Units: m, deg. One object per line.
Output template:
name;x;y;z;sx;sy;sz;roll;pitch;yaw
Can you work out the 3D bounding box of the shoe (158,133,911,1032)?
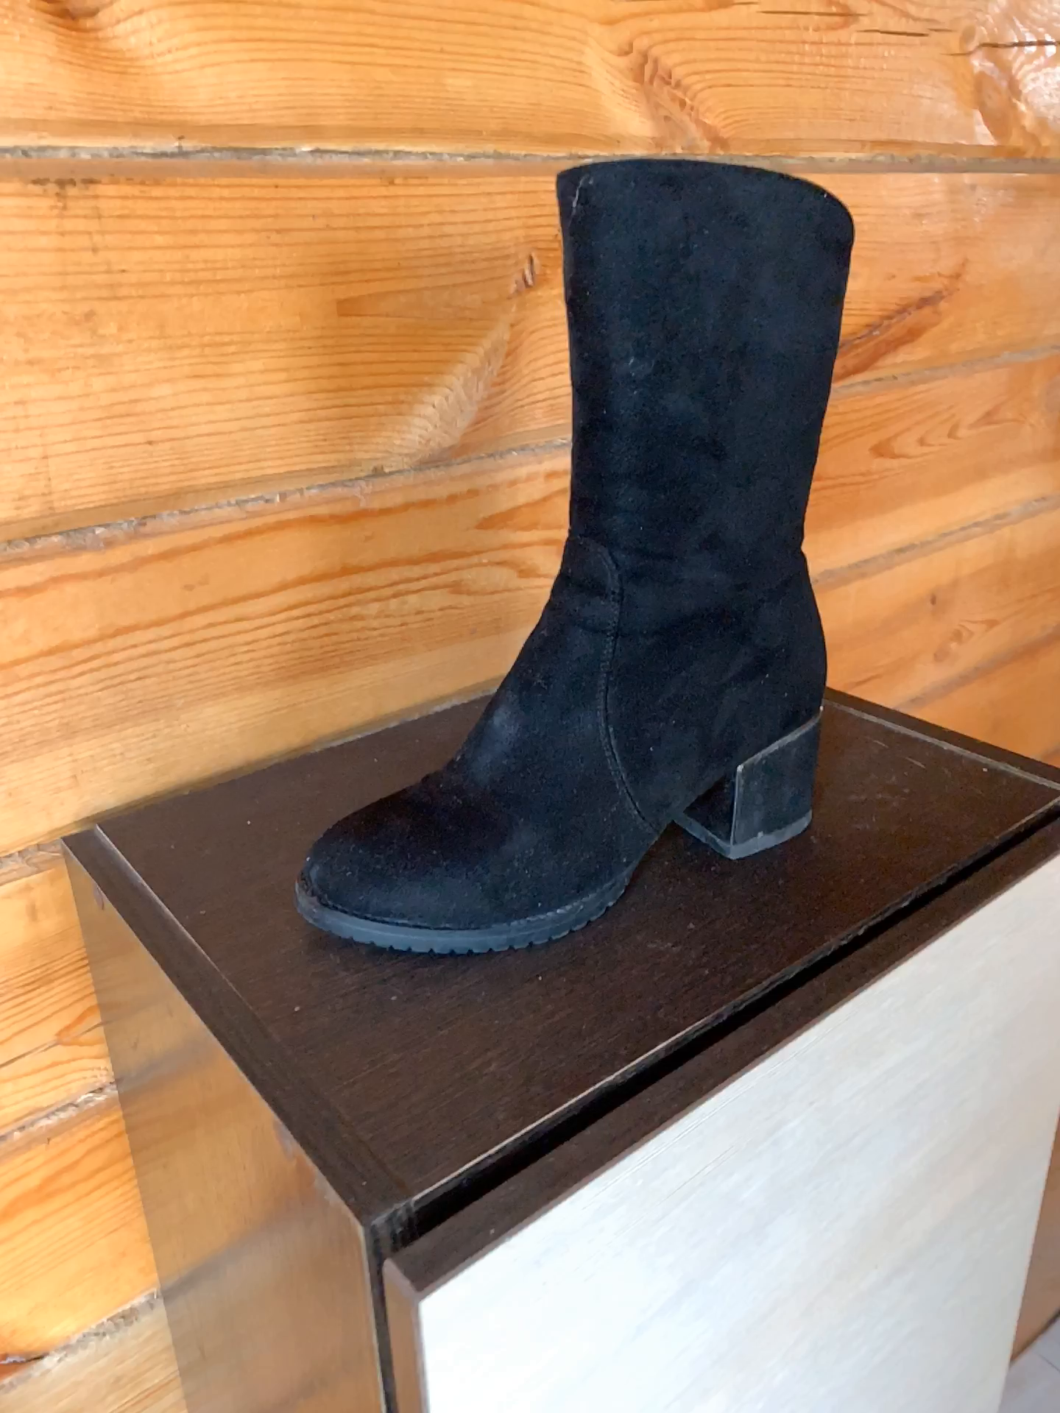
shoe;0.013;-0.058;0.409;0.233;0.268;0.101;-15;25;-29
